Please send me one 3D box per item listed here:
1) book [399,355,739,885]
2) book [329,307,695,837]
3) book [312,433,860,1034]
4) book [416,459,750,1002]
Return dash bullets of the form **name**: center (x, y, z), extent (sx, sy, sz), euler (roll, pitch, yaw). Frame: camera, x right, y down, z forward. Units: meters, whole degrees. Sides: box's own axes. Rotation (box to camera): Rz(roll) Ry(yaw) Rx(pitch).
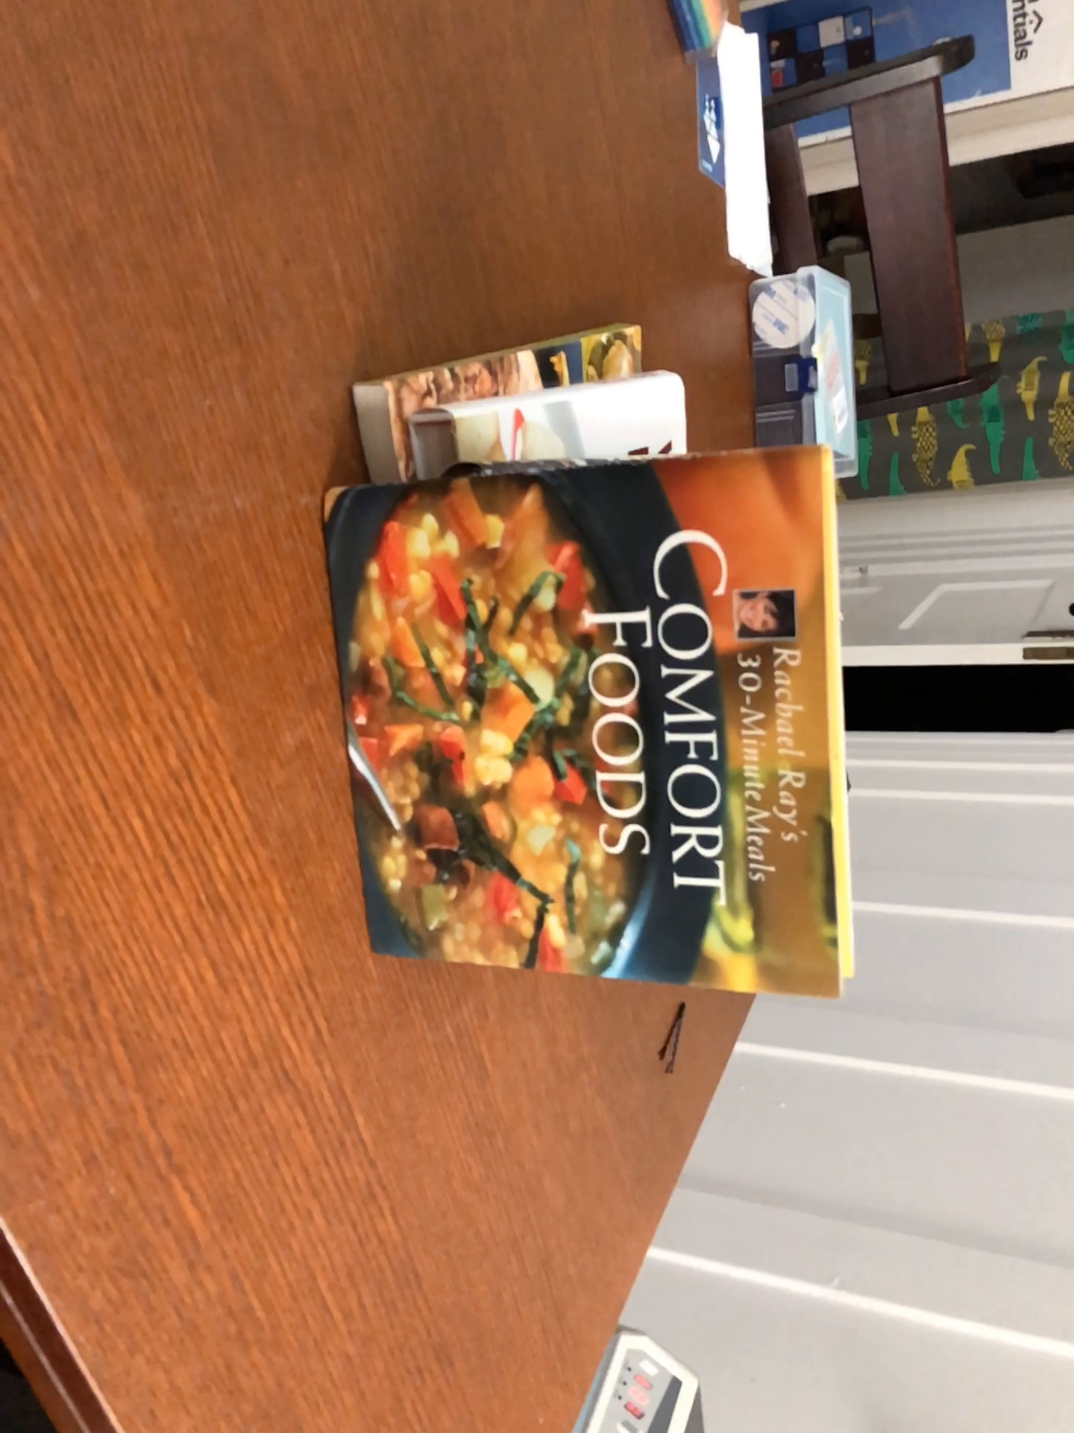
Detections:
- **book**: center (0.037, -0.071, 0.628), extent (0.281, 0.030, 0.220), euler (-33, 119, -56)
- **book**: center (0.009, -0.096, 0.632), extent (0.281, 0.030, 0.220), euler (-36, 122, -55)
- **book**: center (0.016, 0.005, 0.461), extent (0.030, 0.209, 0.210), euler (-22, 111, -63)
- **book**: center (0.043, -0.016, 0.607), extent (0.282, 0.030, 0.220), euler (-24, 111, -58)
